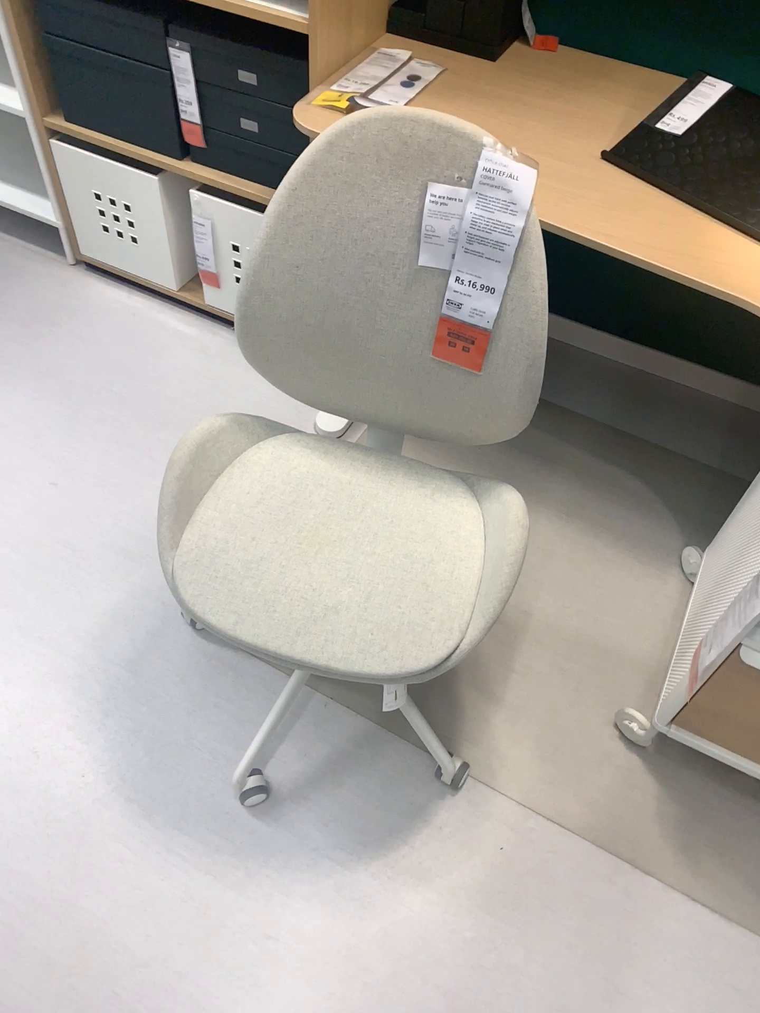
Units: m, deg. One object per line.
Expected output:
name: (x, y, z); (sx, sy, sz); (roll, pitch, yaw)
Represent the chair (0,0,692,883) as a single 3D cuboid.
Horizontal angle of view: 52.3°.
chair: (-0.071, -0.013, 1.118); (0.630, 0.997, 0.642); (16, 52, 8)
